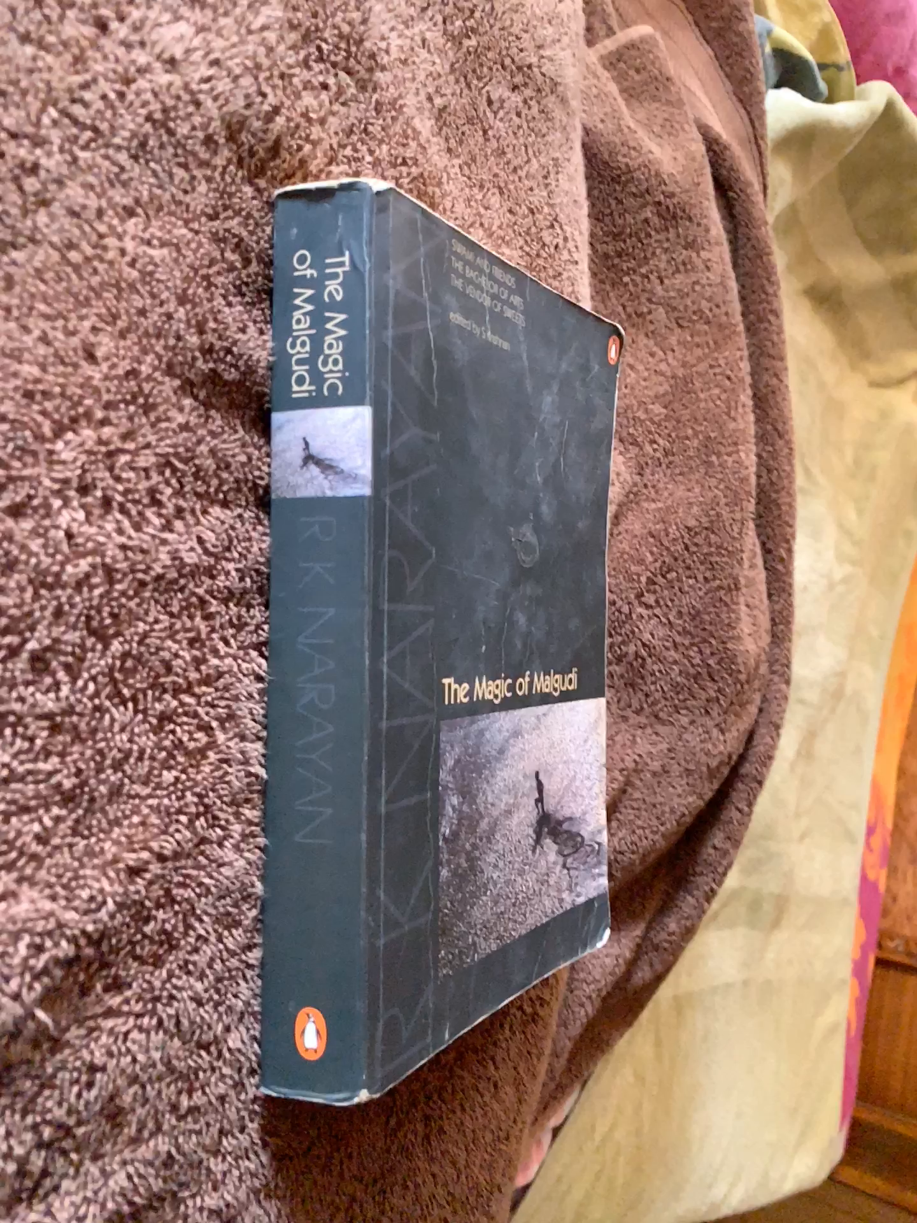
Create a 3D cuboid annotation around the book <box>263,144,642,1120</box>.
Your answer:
[{"bbox_3d":[0.009,0.005,0.257,0.142,0.030,0.193,2,88,-59],"label":"book"}]
